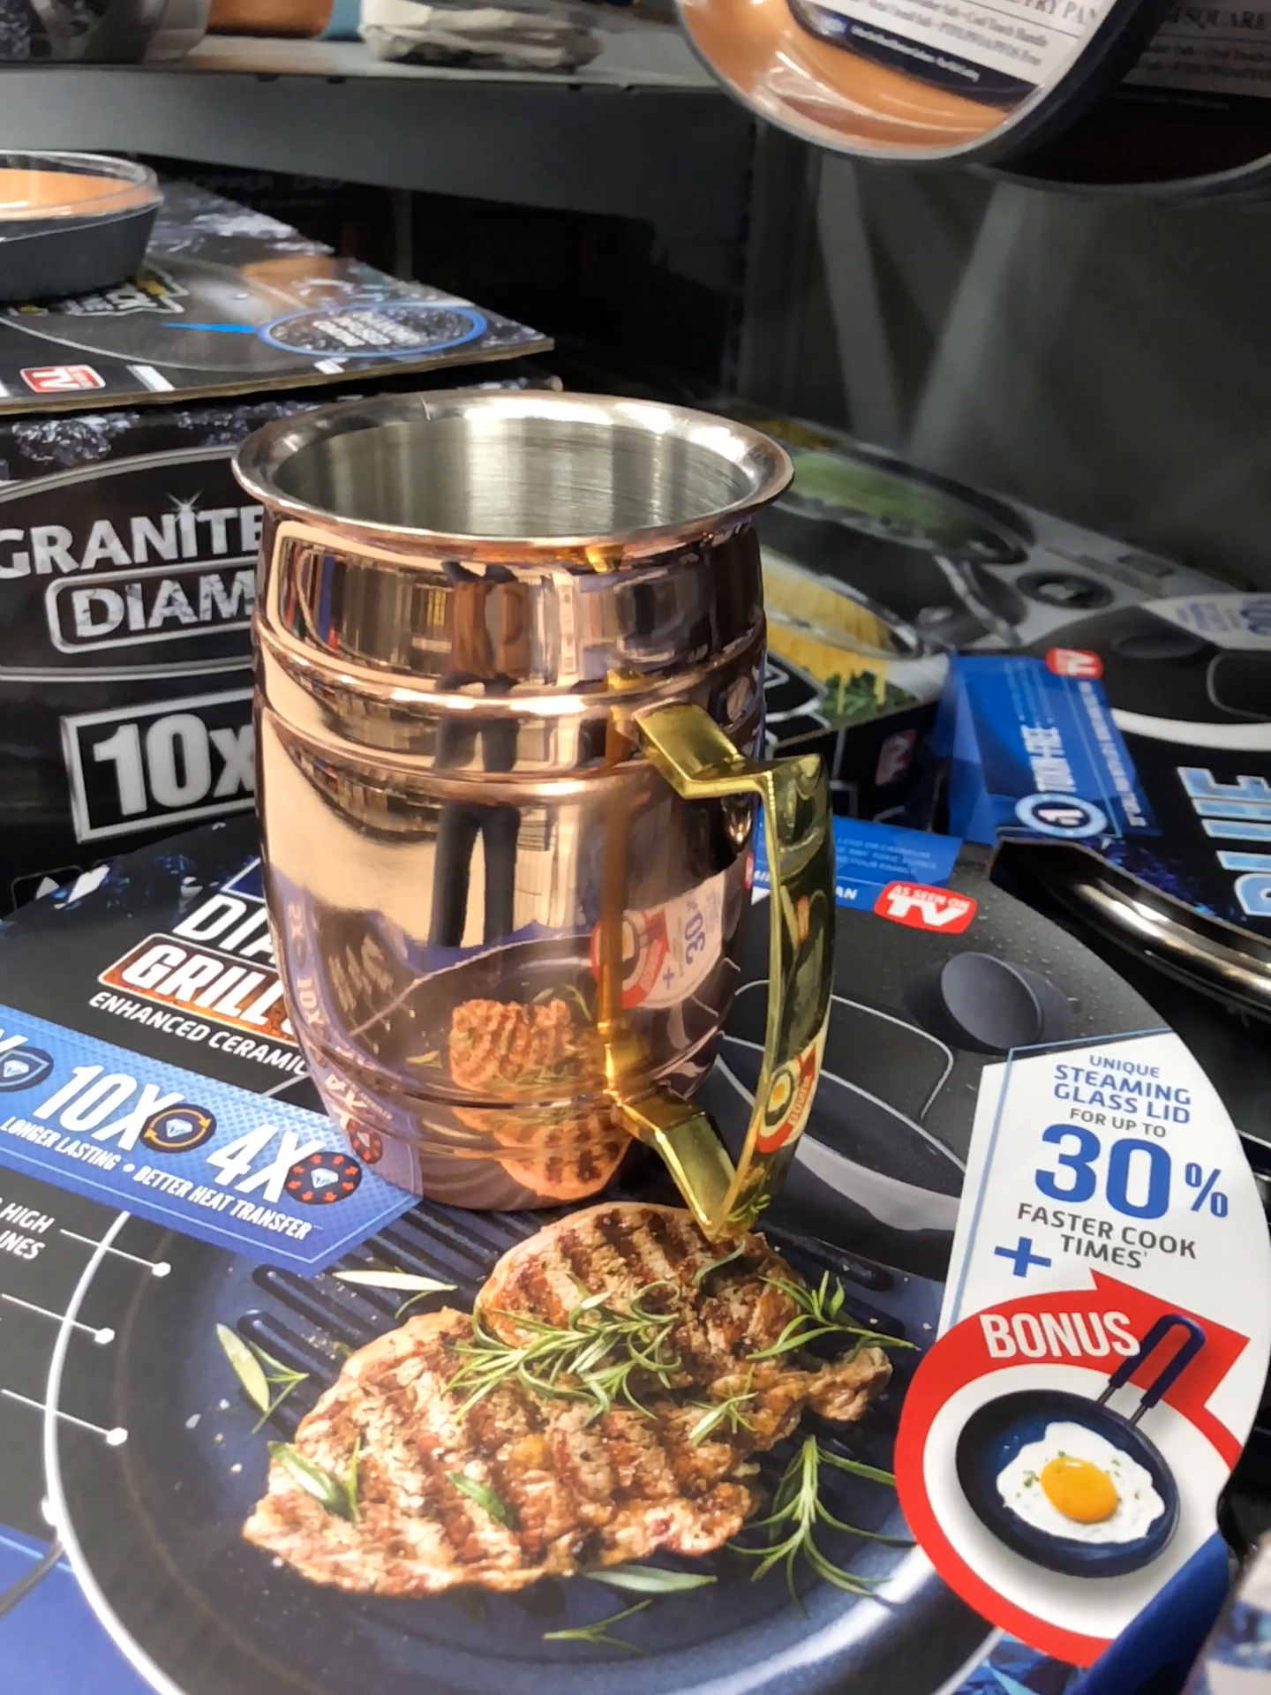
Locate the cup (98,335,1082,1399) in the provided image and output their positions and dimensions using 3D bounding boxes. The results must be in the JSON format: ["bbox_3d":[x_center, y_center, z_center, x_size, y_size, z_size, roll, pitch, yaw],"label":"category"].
[{"bbox_3d":[-0.013,-0.008,0.250,0.127,0.126,0.086,27,38,34],"label":"cup"}]
